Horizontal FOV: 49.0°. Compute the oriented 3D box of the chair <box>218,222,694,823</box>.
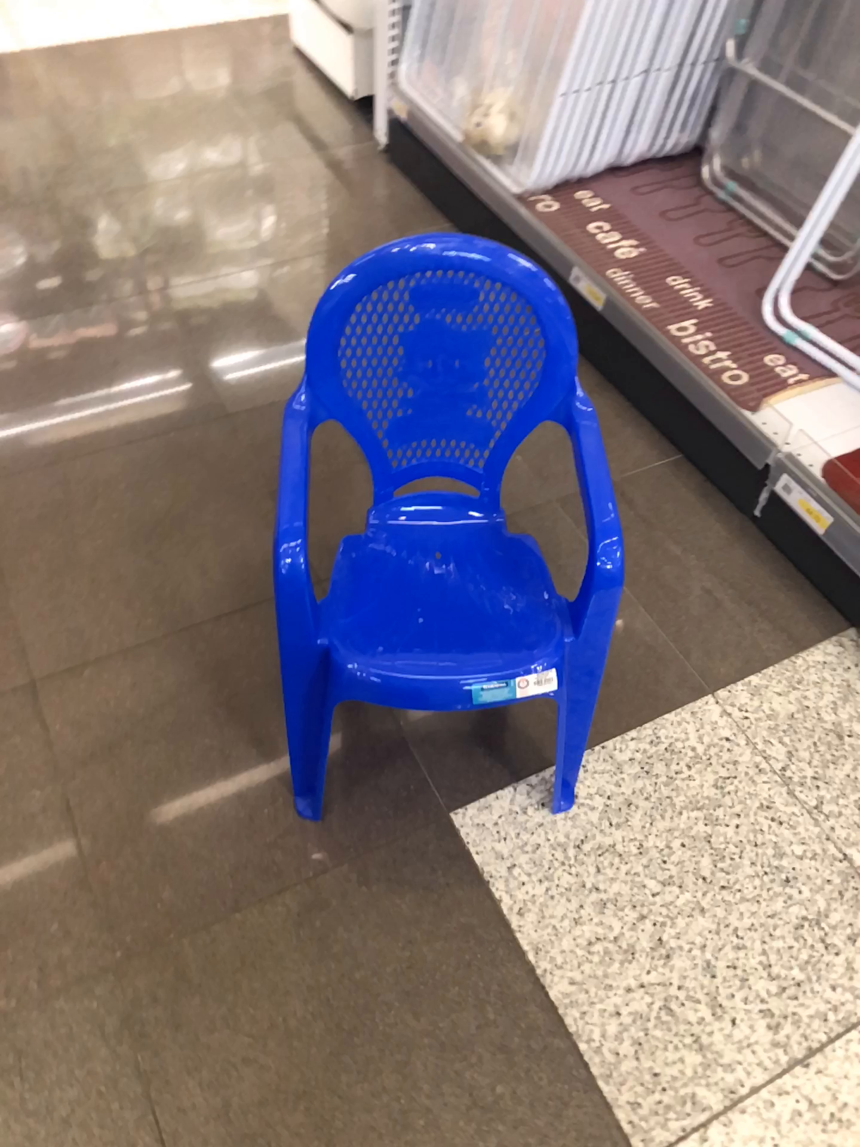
[{"bbox_3d":[0.007,-0.034,1.015,0.350,0.506,0.403,1,49,-2],"label":"chair"}]
